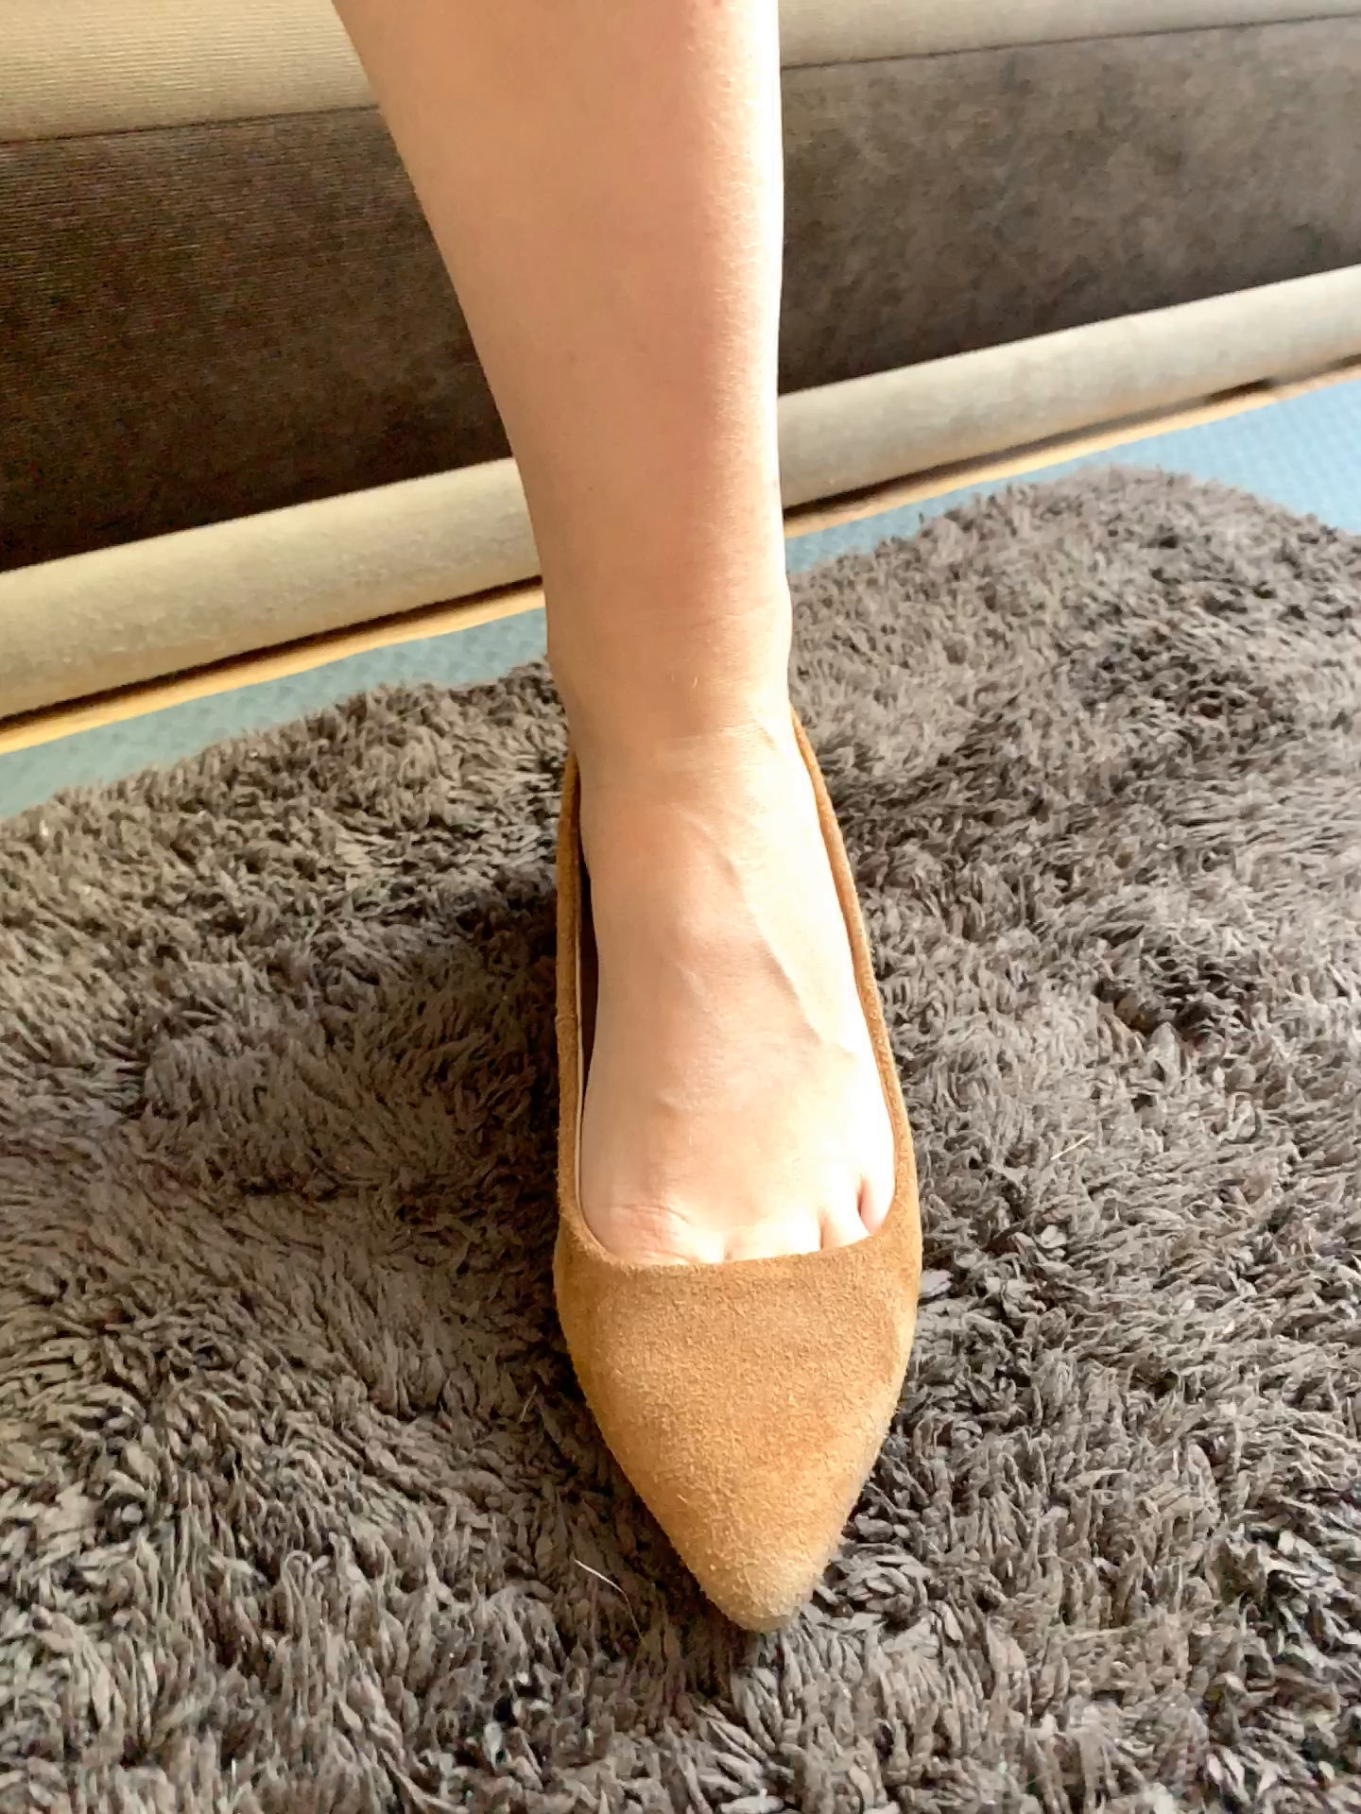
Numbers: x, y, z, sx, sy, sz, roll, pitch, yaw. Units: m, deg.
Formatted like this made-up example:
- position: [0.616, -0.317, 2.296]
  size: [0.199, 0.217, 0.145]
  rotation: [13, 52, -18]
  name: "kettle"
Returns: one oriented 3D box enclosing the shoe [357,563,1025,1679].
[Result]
- position: [-0.011, 0.017, 0.311]
  size: [0.090, 0.080, 0.251]
  rotation: [-3, 39, -5]
  name: "shoe"
